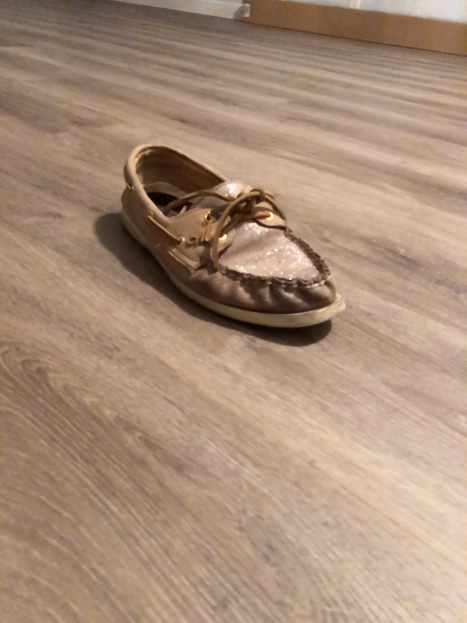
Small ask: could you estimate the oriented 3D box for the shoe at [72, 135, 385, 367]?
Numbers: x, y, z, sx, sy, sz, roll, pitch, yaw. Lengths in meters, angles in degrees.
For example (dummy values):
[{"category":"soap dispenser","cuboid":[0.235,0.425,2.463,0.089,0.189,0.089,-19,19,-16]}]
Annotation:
[{"category":"shoe","cuboid":[-0.023,-0.067,0.398,0.100,0.070,0.251,-18,39,-34]}]
